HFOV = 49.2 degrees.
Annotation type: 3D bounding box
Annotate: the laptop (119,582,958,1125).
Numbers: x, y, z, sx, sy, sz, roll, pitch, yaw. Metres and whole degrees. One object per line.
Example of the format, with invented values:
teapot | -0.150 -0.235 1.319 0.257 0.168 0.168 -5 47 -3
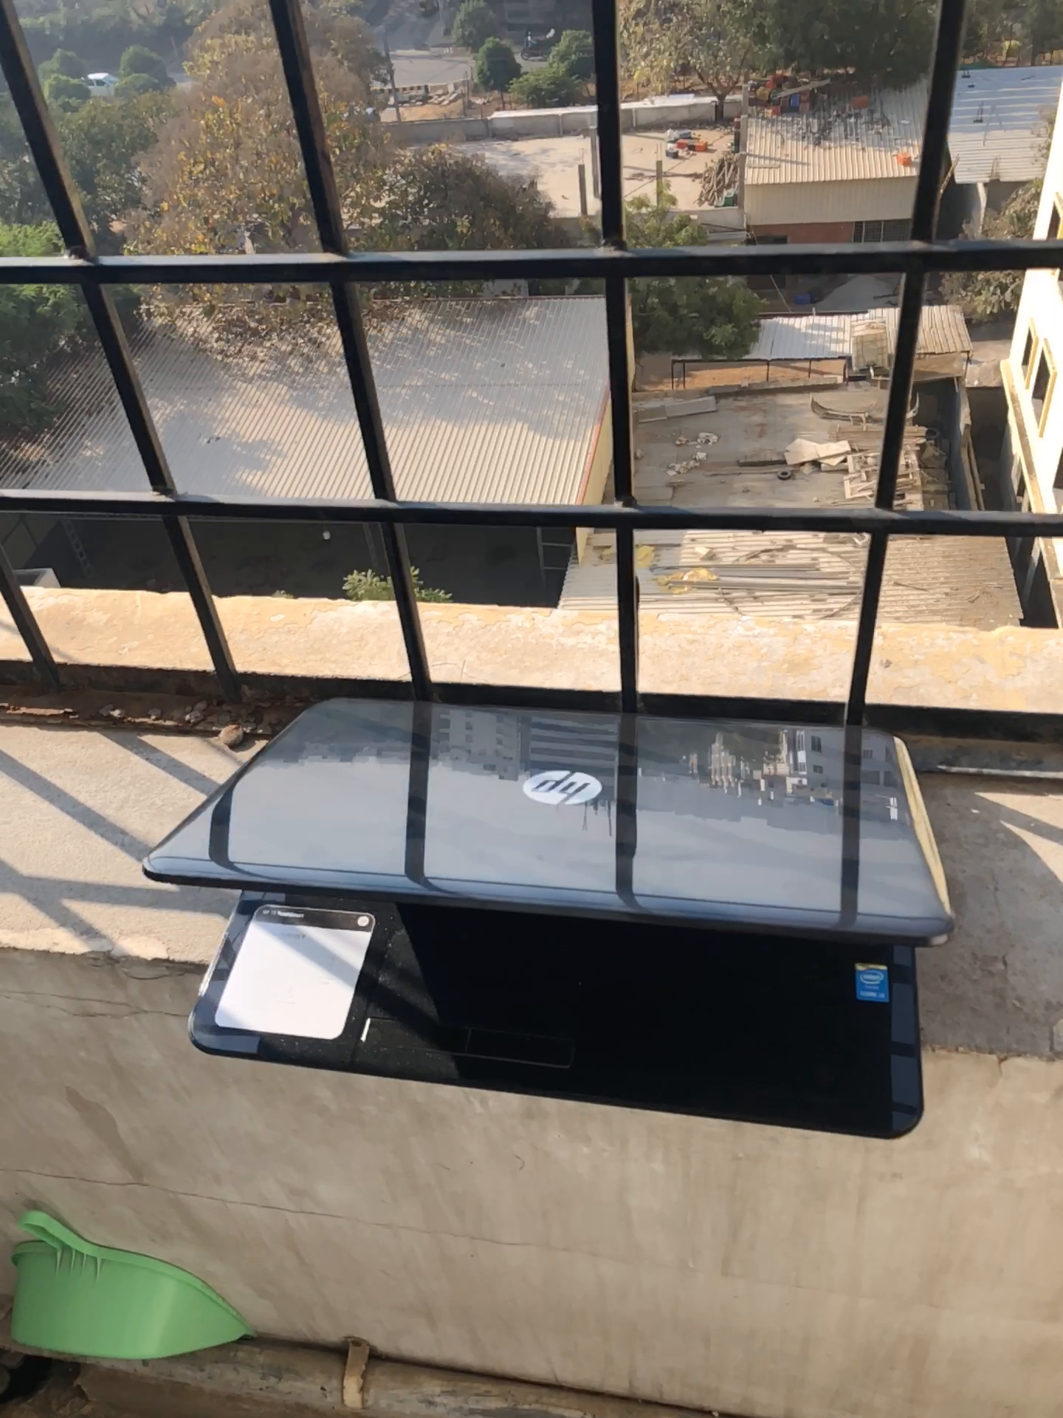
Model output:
laptop | 0.016 0.057 0.620 0.363 0.113 0.245 3 43 11
